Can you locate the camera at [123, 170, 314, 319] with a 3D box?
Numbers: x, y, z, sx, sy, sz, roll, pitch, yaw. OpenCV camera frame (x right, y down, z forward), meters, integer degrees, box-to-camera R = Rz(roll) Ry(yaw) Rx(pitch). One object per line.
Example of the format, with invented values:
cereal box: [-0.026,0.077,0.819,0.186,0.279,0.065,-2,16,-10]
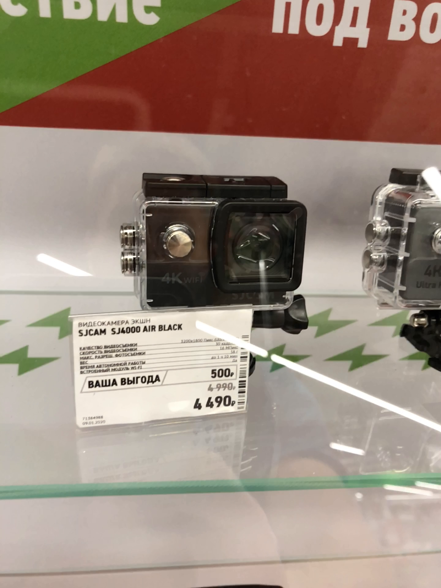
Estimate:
camera: [-0.003,-0.023,0.212,0.074,0.056,0.033,-3,16,-13]
